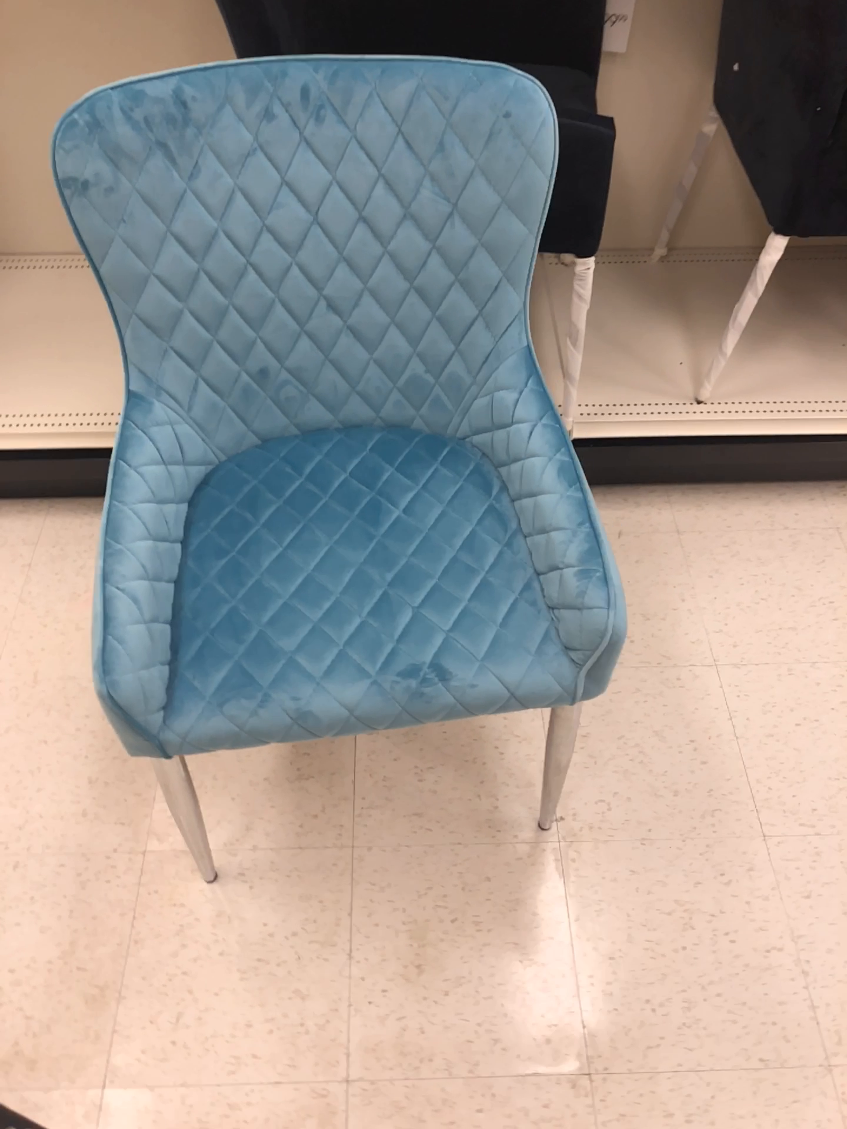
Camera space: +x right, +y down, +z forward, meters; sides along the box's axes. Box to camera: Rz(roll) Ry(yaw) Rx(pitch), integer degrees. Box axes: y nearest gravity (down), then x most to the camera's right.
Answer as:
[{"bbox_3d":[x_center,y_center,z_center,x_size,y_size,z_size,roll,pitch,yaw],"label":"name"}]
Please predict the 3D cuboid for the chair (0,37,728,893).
[{"bbox_3d":[-0.088,-0.073,1.188,0.560,0.871,0.585,-6,49,-5],"label":"chair"}]

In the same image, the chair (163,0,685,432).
[{"bbox_3d":[0.019,-0.709,1.511,0.580,0.777,0.562,3,49,3],"label":"chair"}]
